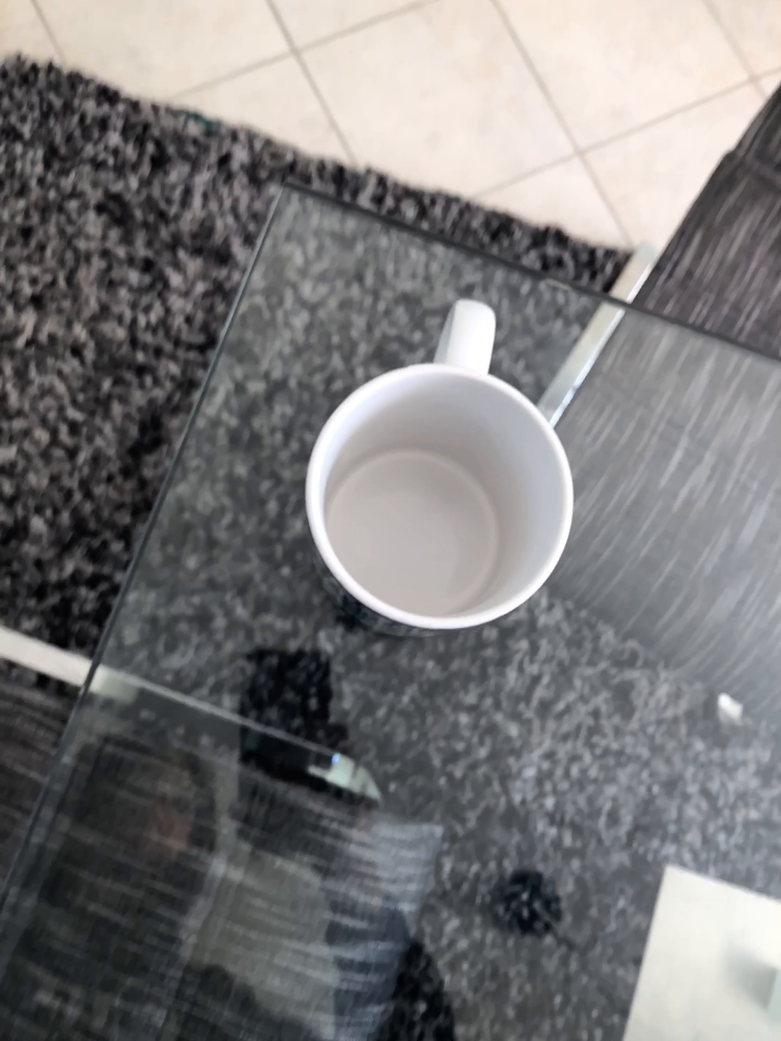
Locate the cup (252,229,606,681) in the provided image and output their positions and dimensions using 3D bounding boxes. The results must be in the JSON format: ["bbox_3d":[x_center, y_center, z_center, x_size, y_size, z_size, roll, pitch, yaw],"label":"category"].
[{"bbox_3d":[0.010,-0.014,0.300,0.080,0.090,0.120,14,80,-3],"label":"cup"}]
